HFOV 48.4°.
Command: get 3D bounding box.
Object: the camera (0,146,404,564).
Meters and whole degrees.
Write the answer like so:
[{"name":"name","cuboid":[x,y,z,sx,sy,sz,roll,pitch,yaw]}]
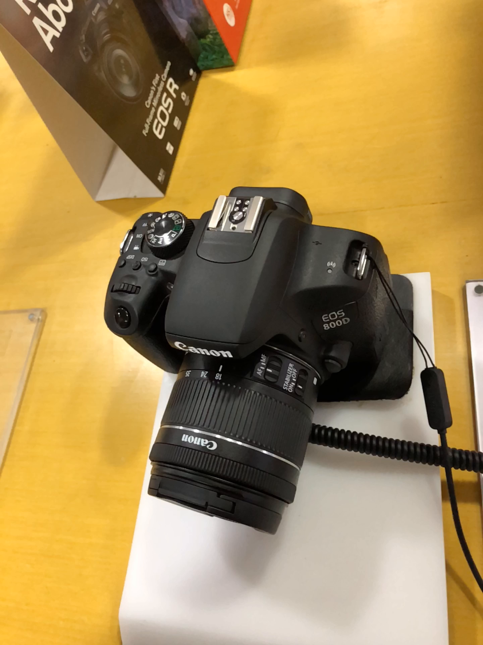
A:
[{"name":"camera","cuboid":[-0.008,0.011,0.222,0.120,0.090,0.130,7,67,23]}]
